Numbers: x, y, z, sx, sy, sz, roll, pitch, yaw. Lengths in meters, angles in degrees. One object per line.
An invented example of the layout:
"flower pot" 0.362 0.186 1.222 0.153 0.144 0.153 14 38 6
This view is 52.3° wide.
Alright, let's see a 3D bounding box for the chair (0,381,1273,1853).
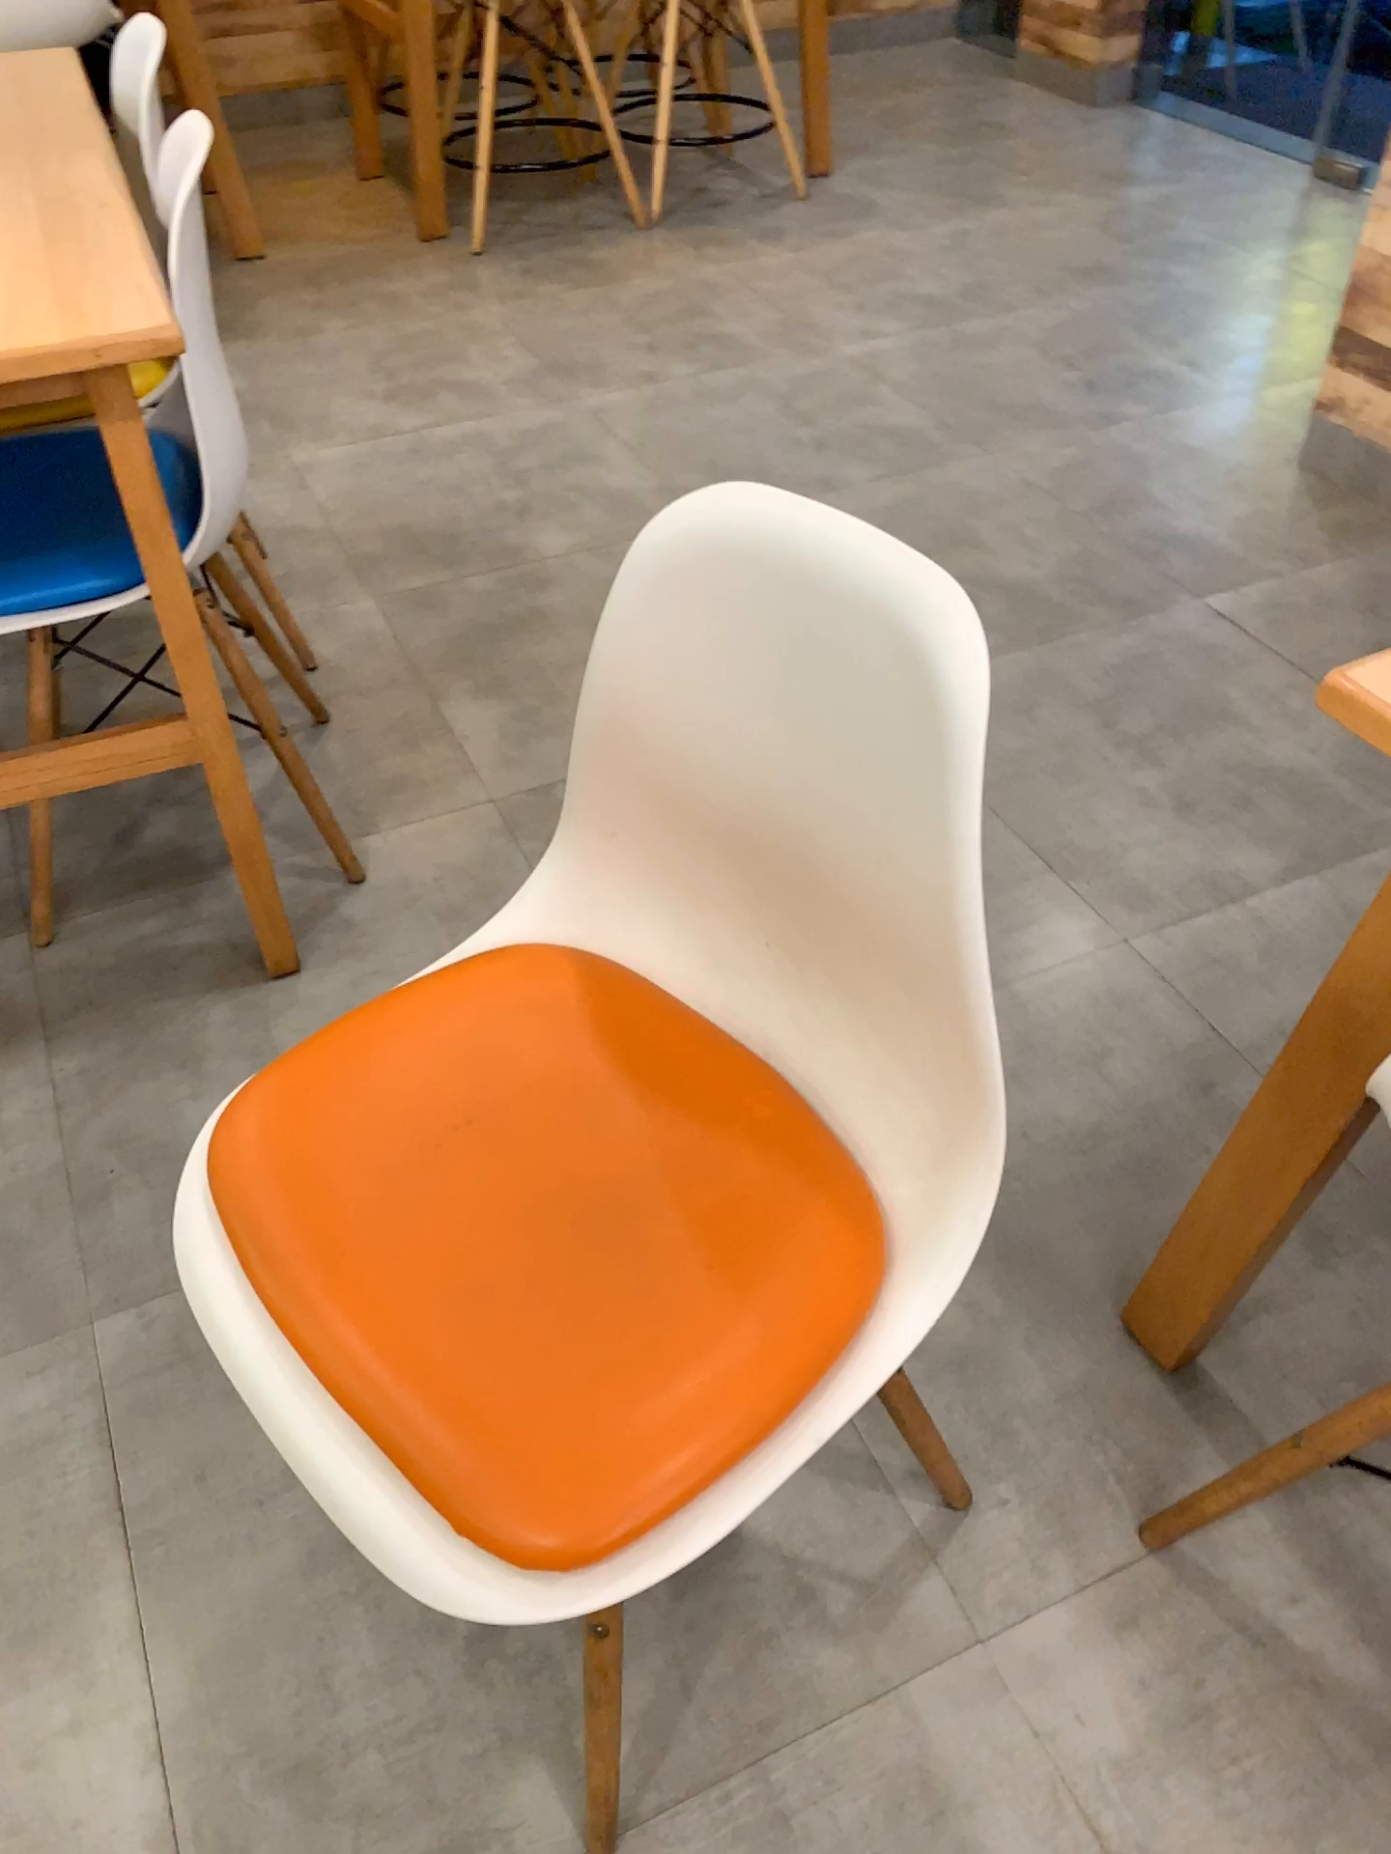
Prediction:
"chair" -0.053 0.141 0.888 0.451 0.724 0.442 -30 49 -28
